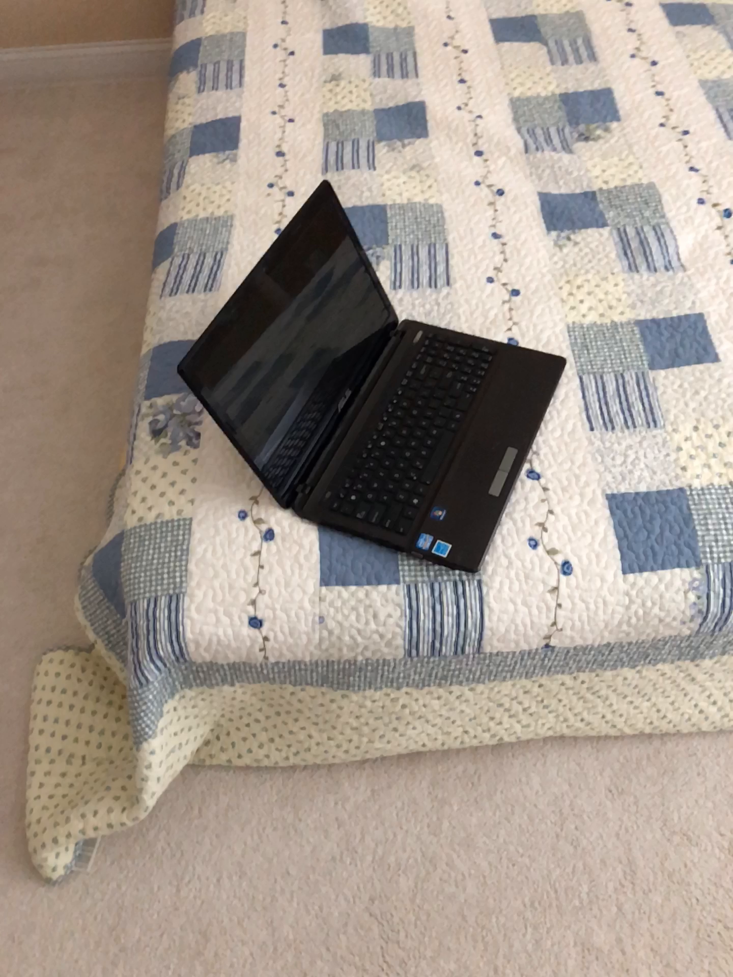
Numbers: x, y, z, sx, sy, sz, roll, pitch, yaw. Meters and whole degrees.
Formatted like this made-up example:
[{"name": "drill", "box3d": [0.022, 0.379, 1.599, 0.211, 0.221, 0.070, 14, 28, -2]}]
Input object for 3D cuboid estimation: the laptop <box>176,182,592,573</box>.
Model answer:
[{"name": "laptop", "box3d": [0.036, -0.150, 0.979, 0.350, 0.193, 0.358, 19, 57, 15]}]
